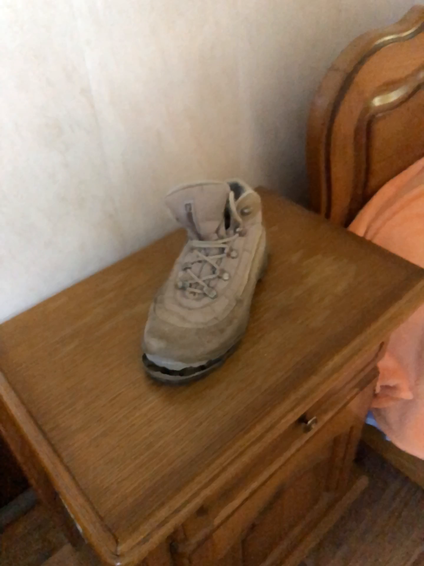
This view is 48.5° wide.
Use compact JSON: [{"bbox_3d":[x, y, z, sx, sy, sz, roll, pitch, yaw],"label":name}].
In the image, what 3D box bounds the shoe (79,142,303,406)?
[{"bbox_3d":[0.000,-0.032,0.553,0.130,0.139,0.292,14,43,20],"label":"shoe"}]
